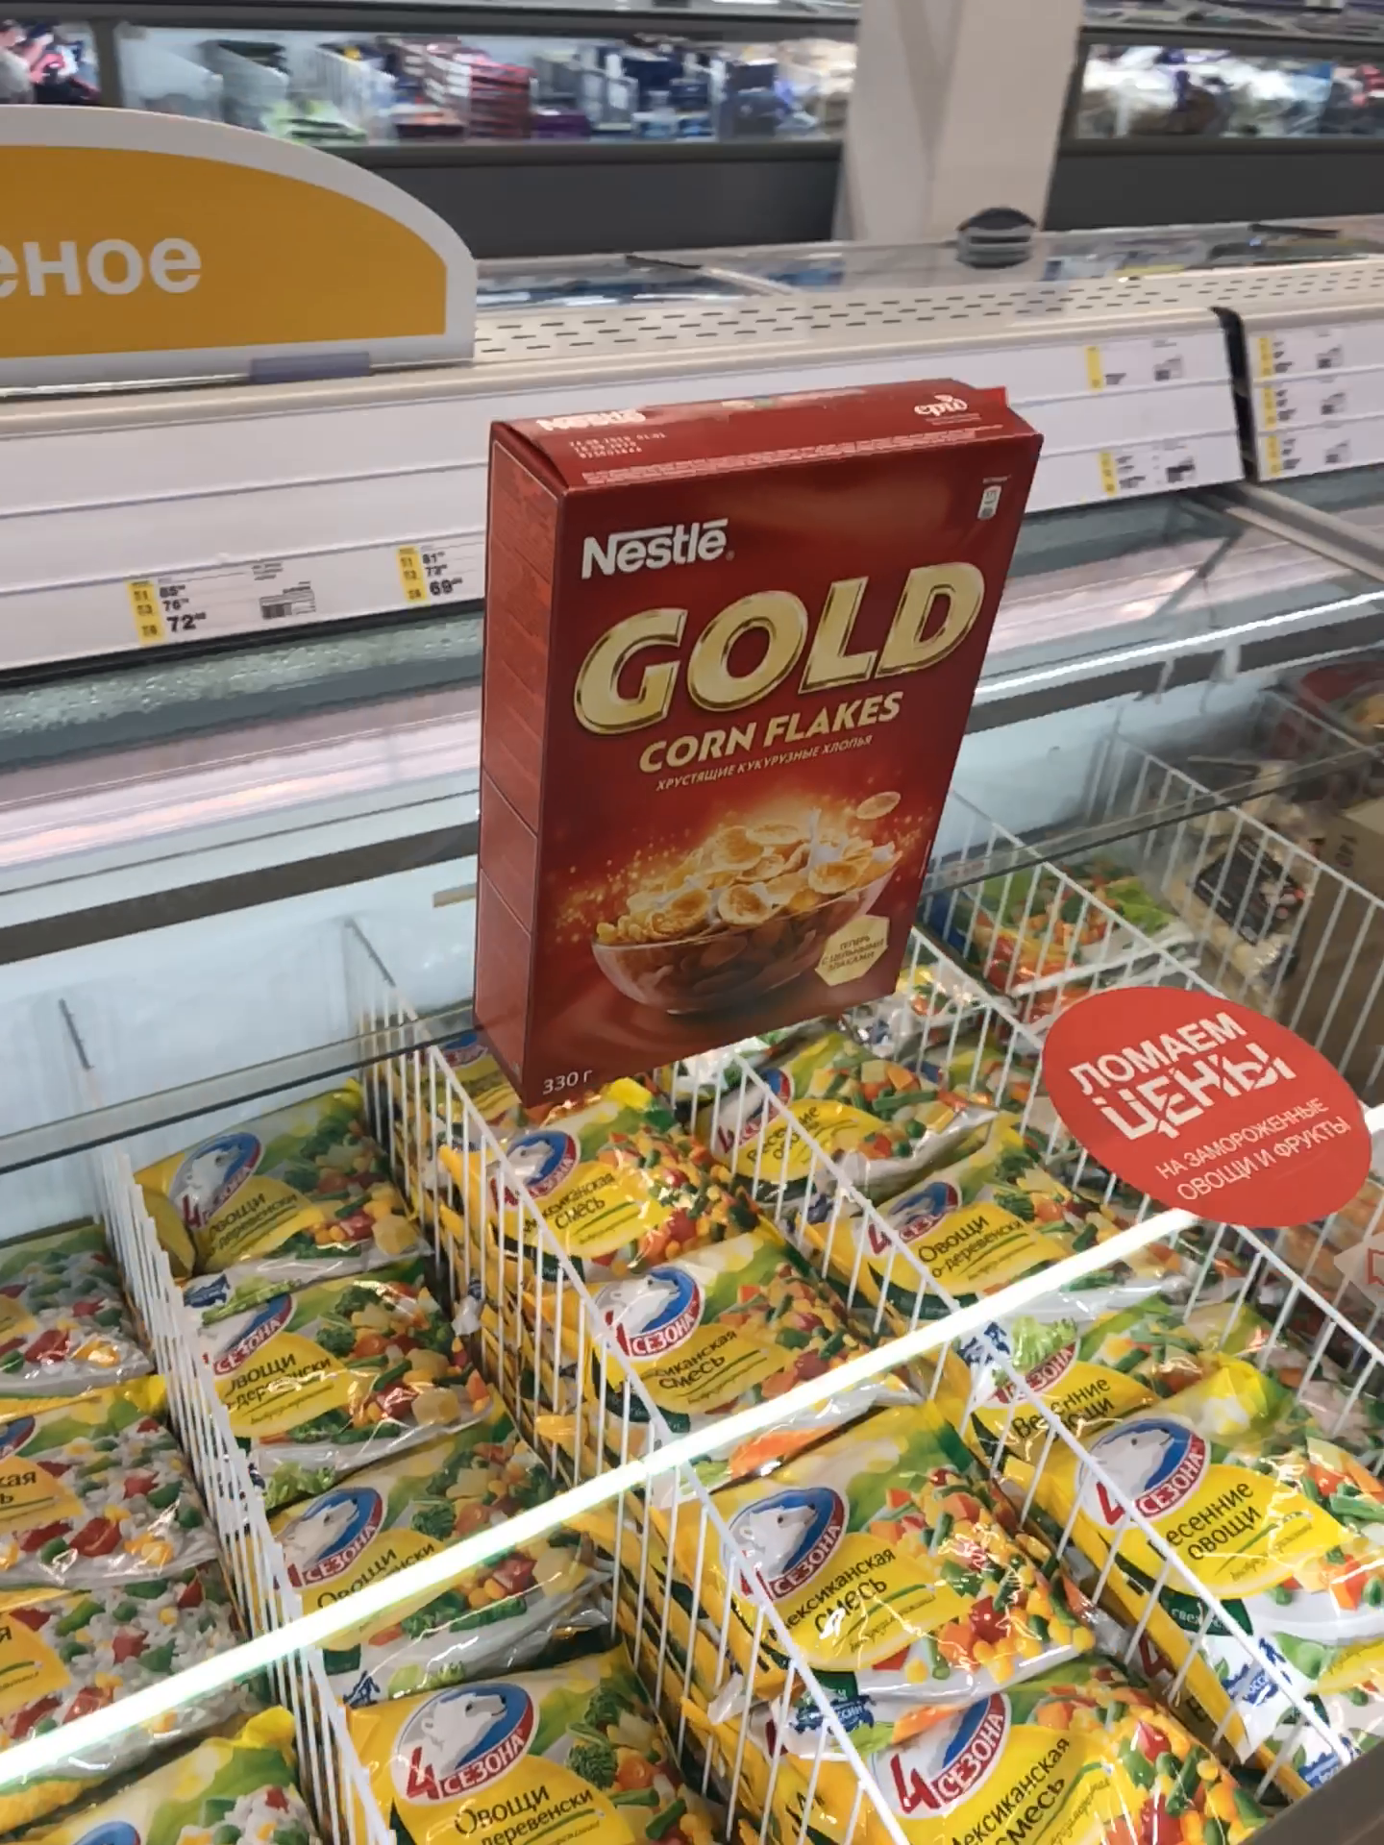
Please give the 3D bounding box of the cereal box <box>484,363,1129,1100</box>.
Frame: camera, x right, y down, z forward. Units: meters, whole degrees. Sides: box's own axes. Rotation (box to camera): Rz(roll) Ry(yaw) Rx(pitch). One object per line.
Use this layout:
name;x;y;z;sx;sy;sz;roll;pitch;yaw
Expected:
cereal box;0.033;-0.070;0.590;0.210;0.258;0.060;-15;44;-26
